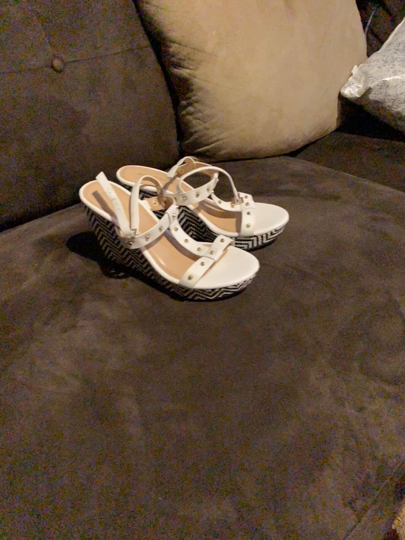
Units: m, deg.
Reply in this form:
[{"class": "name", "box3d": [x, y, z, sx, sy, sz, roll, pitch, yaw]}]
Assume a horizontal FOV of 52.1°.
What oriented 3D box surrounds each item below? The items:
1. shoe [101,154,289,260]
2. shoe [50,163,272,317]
[{"class": "shoe", "box3d": [-0.006, -0.097, 0.612, 0.250, 0.099, 0.101, 6, 35, 9]}, {"class": "shoe", "box3d": [-0.056, -0.051, 0.549, 0.260, 0.099, 0.110, 18, 38, 22]}]
